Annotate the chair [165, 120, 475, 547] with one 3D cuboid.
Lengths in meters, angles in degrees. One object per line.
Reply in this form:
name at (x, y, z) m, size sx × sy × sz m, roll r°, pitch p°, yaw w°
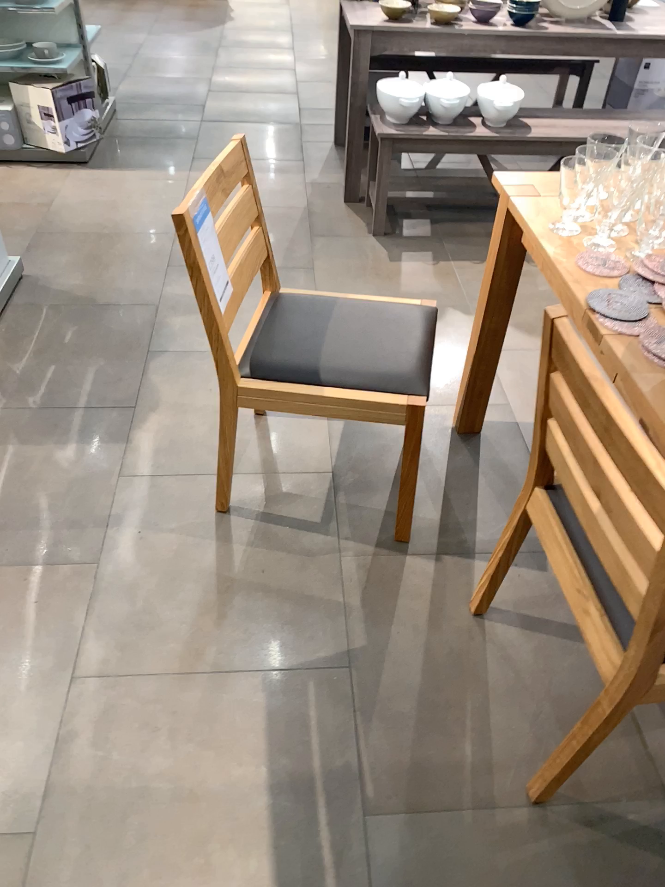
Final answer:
chair at (-0.001, -0.265, 1.693) m, size 0.563 × 0.815 × 0.568 m, roll 8°, pitch 42°, yaw 5°
